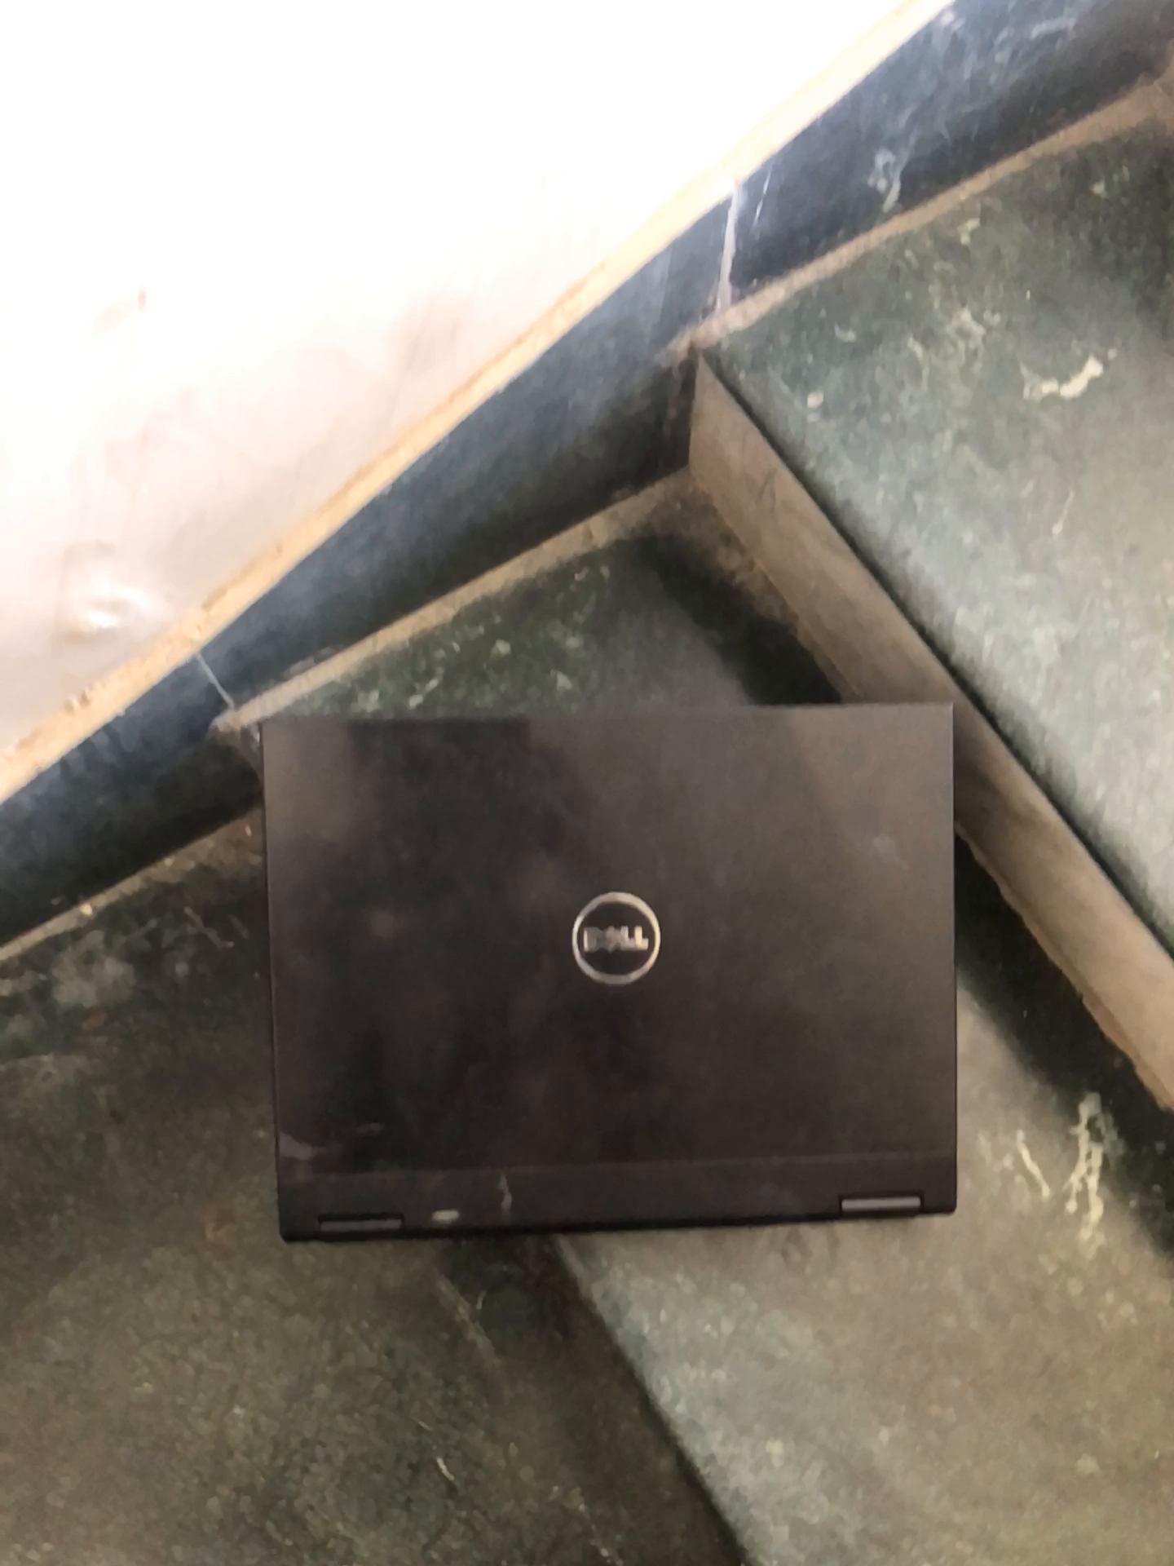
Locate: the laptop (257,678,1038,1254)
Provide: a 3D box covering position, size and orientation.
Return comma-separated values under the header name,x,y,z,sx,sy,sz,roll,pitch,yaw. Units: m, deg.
name,x,y,z,sx,sy,sz,roll,pitch,yaw
laptop,0.016,0.080,0.581,0.302,0.095,0.232,-2,72,-4
